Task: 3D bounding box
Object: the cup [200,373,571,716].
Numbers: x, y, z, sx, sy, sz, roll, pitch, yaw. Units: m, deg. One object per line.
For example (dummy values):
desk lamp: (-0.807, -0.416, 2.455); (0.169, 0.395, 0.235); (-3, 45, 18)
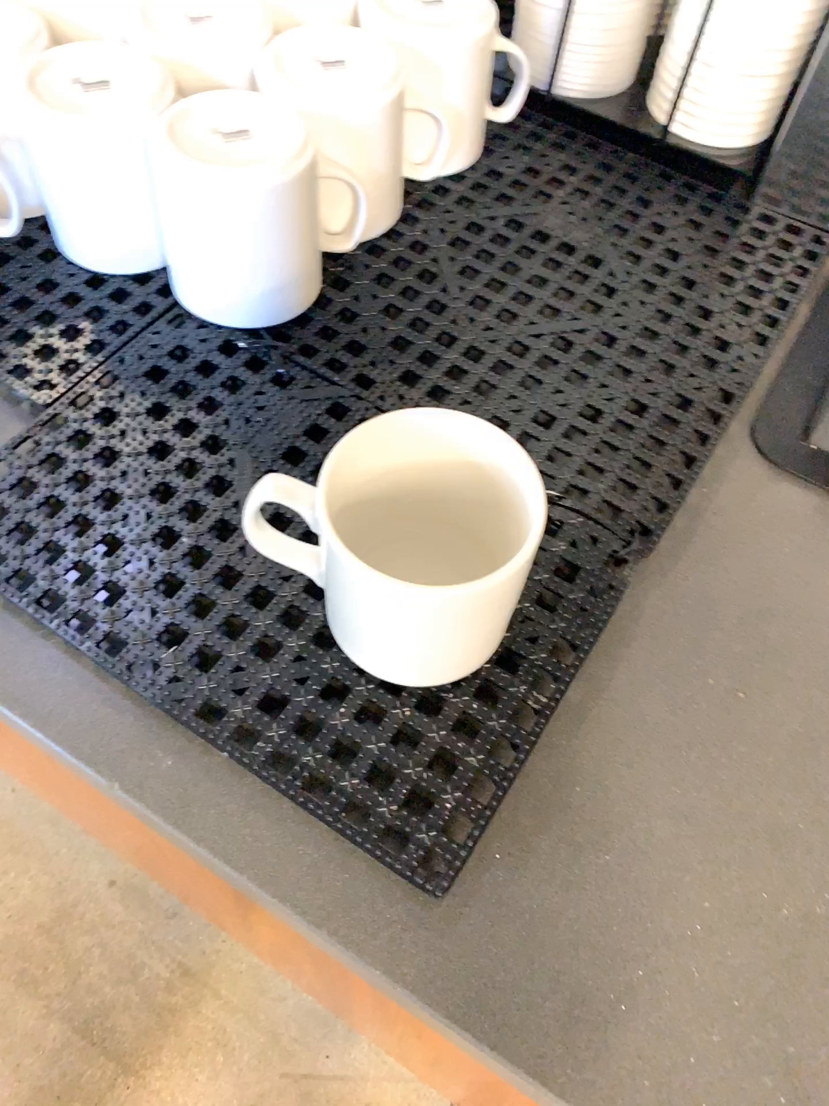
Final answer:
cup: (-0.008, -0.002, 0.345); (0.120, 0.080, 0.090); (10, 58, 3)
